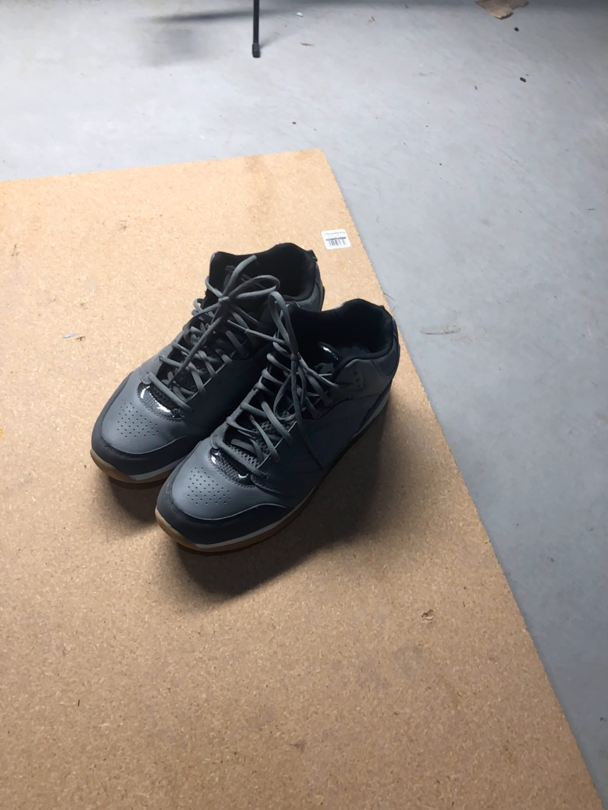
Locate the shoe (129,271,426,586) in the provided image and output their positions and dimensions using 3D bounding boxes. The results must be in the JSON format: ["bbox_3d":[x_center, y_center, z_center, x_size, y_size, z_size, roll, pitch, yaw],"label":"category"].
[{"bbox_3d":[-0.018,0.017,0.620,0.100,0.140,0.260,38,61,19],"label":"shoe"}]

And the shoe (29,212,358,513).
[{"bbox_3d":[-0.091,-0.048,0.638,0.110,0.120,0.280,41,62,20],"label":"shoe"}]
